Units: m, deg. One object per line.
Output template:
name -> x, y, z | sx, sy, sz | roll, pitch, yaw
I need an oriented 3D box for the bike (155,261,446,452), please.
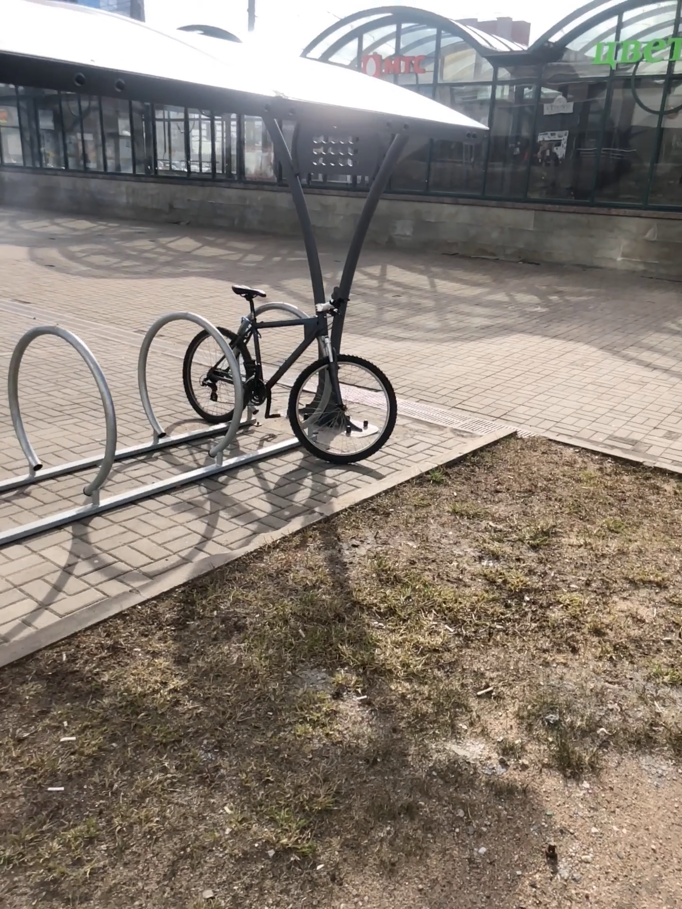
bike -> -0.294, -0.675, 4.735 | 1.612, 0.980, 0.563 | 11, 22, 26
